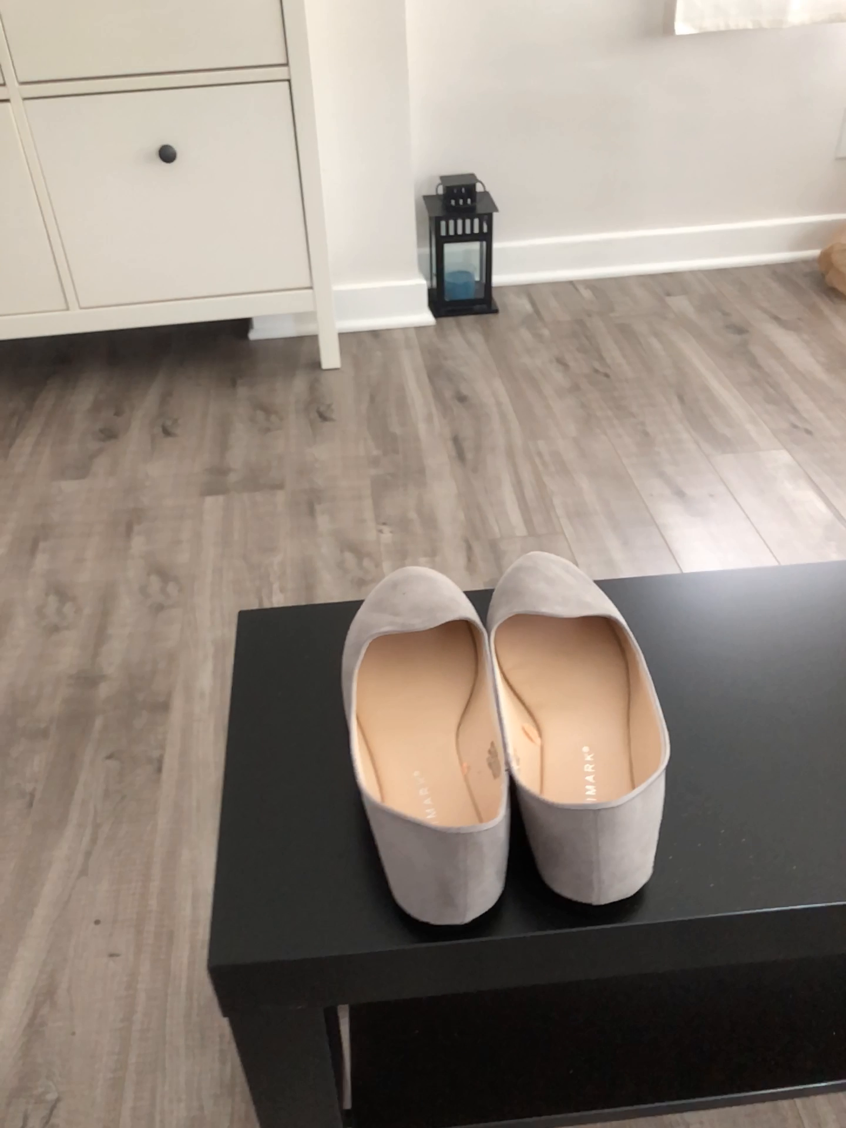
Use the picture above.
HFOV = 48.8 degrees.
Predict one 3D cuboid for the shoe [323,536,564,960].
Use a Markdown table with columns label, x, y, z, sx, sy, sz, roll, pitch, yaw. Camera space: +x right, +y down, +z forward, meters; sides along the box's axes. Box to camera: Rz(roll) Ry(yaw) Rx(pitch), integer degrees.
| label | x | y | z | sx | sy | sz | roll | pitch | yaw |
| --- | --- | --- | --- | --- | --- | --- | --- | --- | --- |
| shoe | 0.000 | 0.087 | 0.534 | 0.100 | 0.060 | 0.251 | -6 | 38 | -4 |

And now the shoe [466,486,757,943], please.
| label | x | y | z | sx | sy | sz | roll | pitch | yaw |
| --- | --- | --- | --- | --- | --- | --- | --- | --- | --- |
| shoe | 0.086 | 0.067 | 0.524 | 0.100 | 0.090 | 0.254 | -3 | 38 | -2 |
